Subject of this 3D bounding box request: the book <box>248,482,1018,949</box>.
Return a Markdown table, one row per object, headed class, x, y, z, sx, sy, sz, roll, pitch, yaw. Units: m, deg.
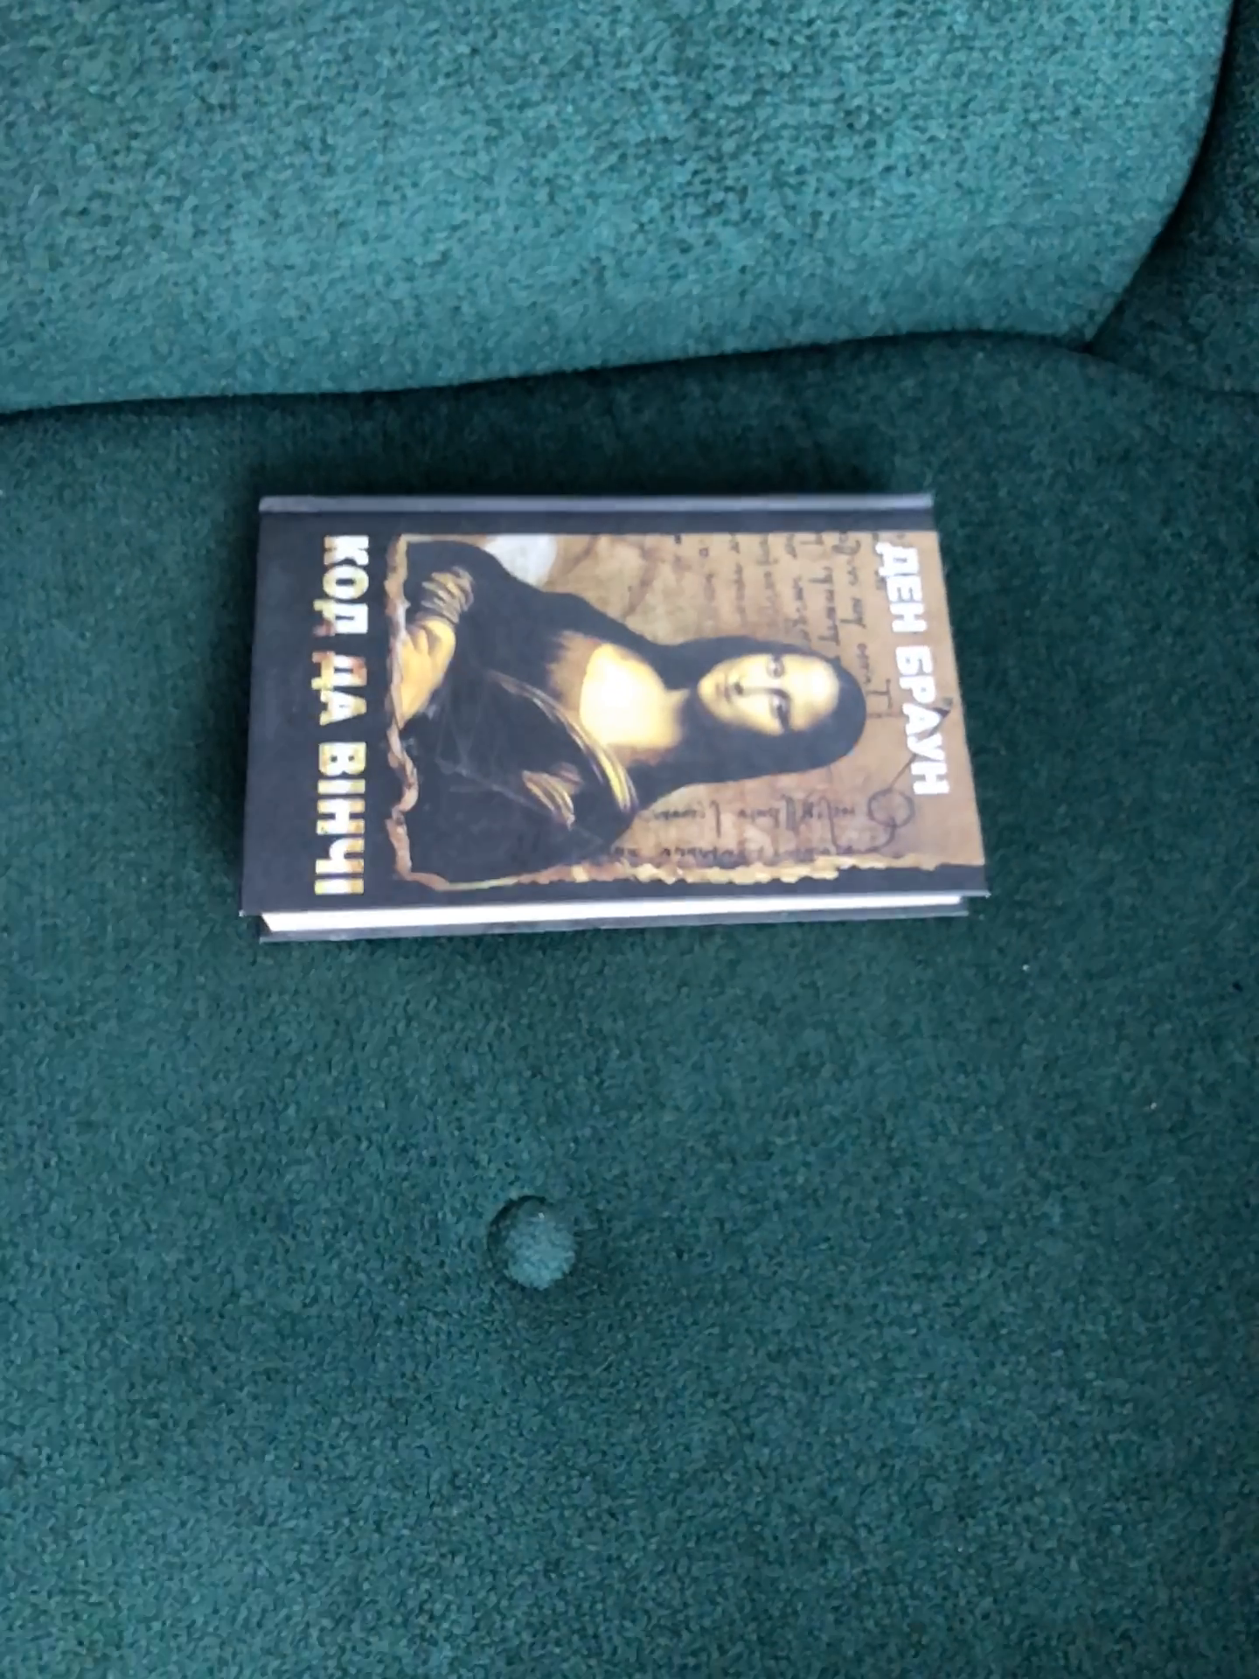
| class | x | y | z | sx | sy | sz | roll | pitch | yaw |
| --- | --- | --- | --- | --- | --- | --- | --- | --- | --- |
| book | -0.001 | -0.040 | 0.416 | 0.209 | 0.030 | 0.135 | -2 | 69 | -4 |
